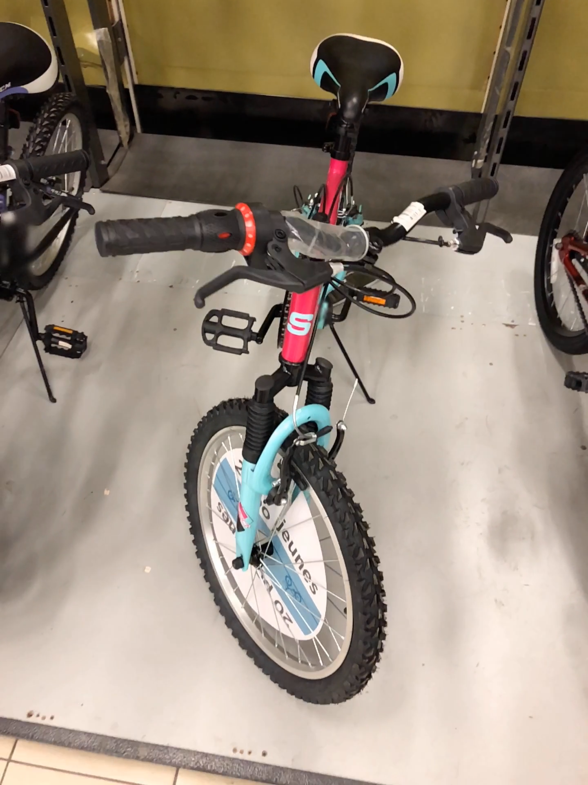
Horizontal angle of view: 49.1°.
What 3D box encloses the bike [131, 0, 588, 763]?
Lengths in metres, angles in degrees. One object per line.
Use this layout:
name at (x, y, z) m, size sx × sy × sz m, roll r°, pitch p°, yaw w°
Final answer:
bike at (0.163, -0.157, 1.137) m, size 0.562 × 0.764 × 1.220 m, roll 2°, pitch 54°, yaw 1°
